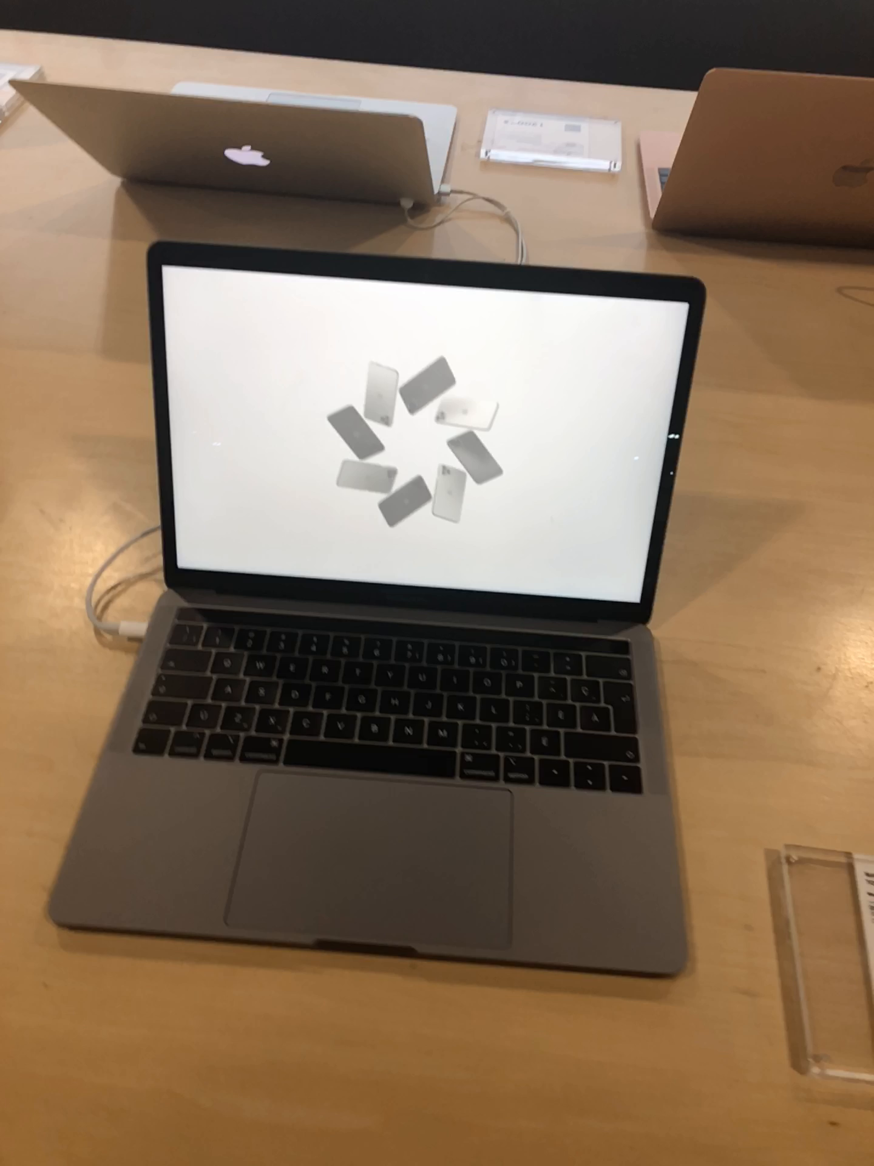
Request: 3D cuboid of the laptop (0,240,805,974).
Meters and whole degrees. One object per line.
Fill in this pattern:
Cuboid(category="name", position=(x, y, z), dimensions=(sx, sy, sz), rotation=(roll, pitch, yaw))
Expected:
Cuboid(category="laptop", position=(-0.025, -0.002, 0.479), dimensions=(0.296, 0.181, 0.296), rotation=(5, 47, 0))
